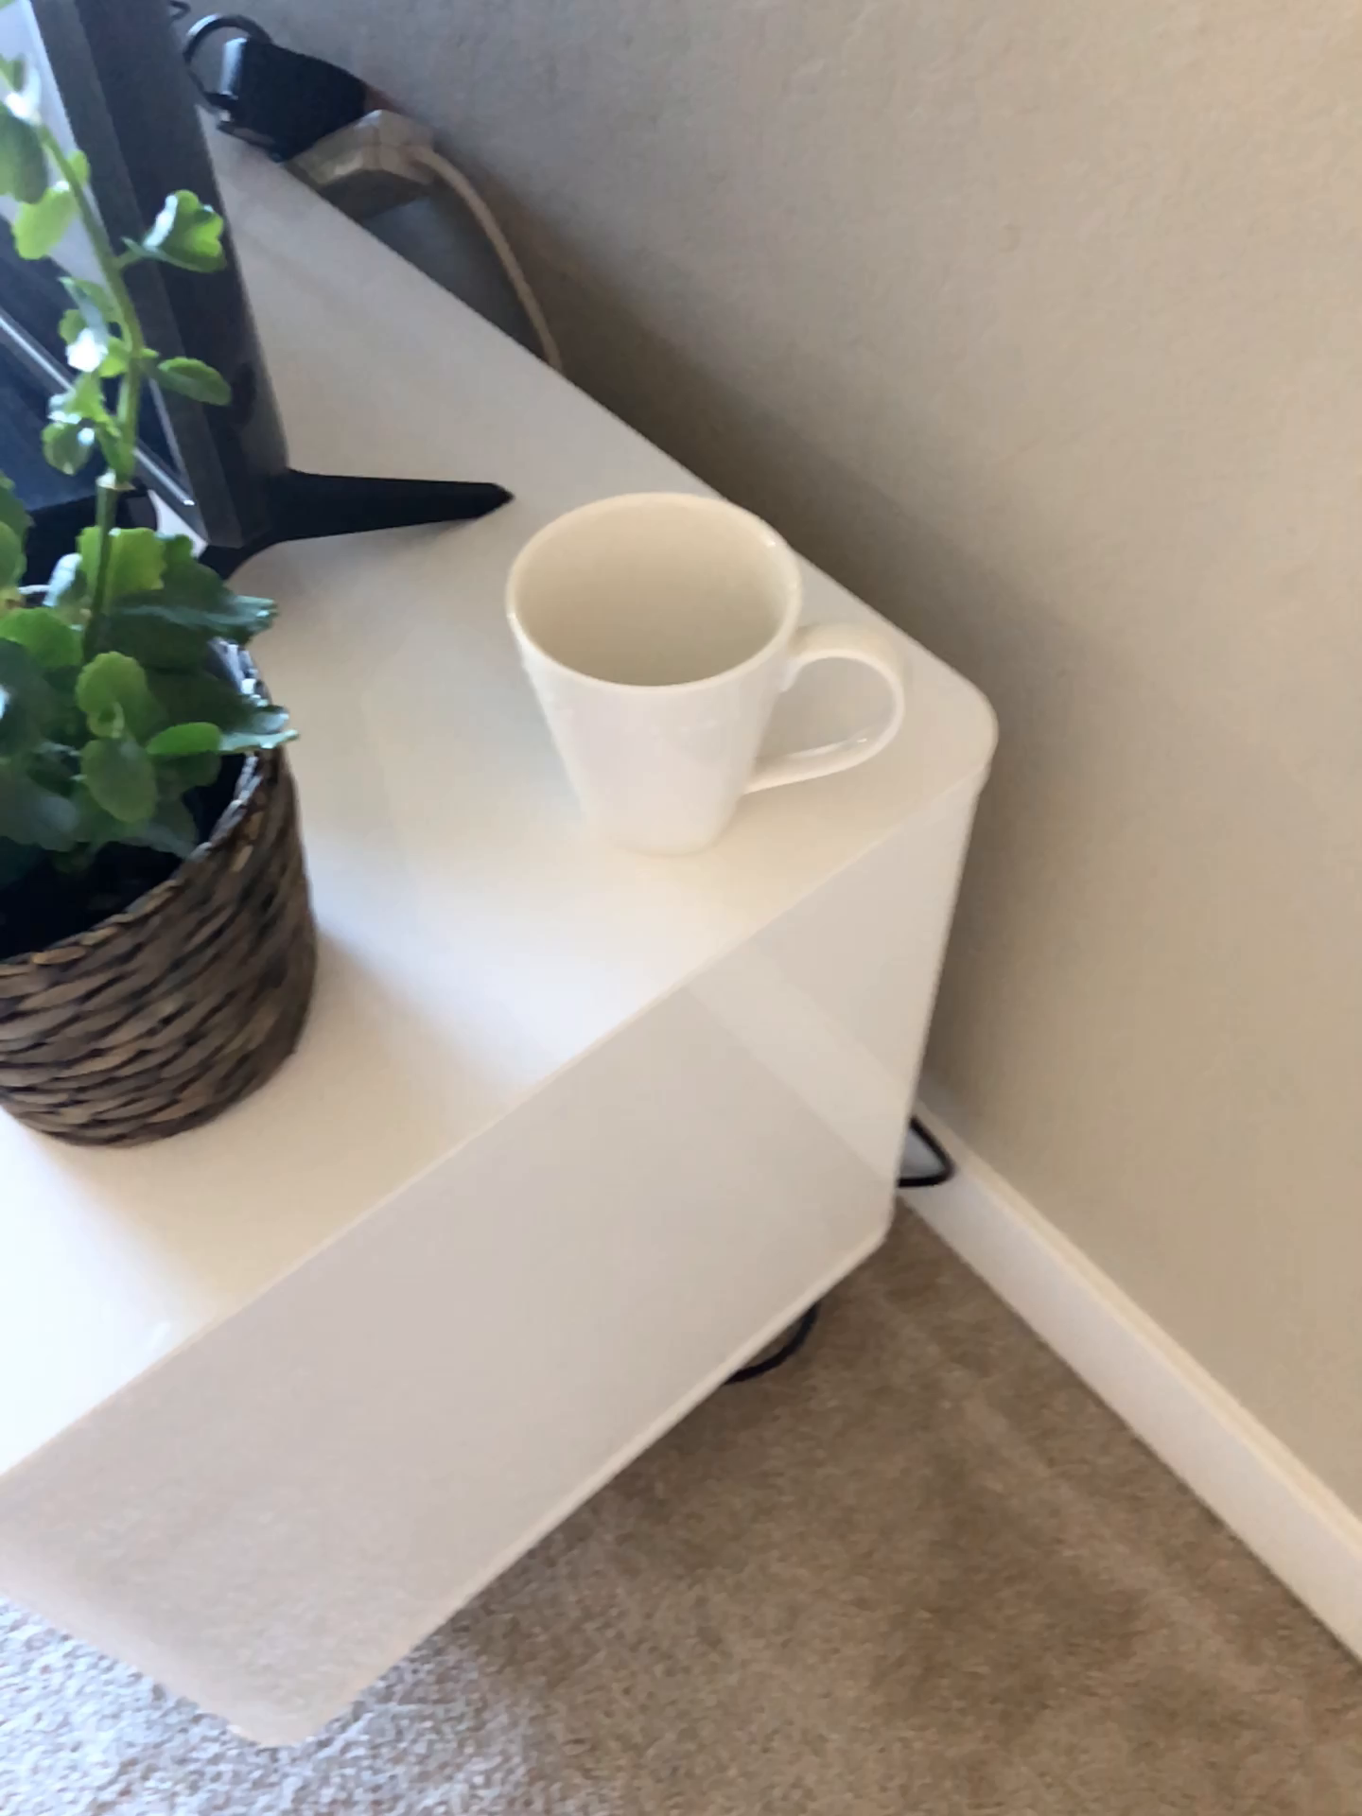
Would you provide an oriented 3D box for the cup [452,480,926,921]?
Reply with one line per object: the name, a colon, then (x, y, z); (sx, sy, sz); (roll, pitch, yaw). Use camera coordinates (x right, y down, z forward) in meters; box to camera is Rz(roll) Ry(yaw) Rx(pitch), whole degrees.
cup: (0.006, -0.069, 0.504); (0.130, 0.090, 0.090); (10, 55, 9)
